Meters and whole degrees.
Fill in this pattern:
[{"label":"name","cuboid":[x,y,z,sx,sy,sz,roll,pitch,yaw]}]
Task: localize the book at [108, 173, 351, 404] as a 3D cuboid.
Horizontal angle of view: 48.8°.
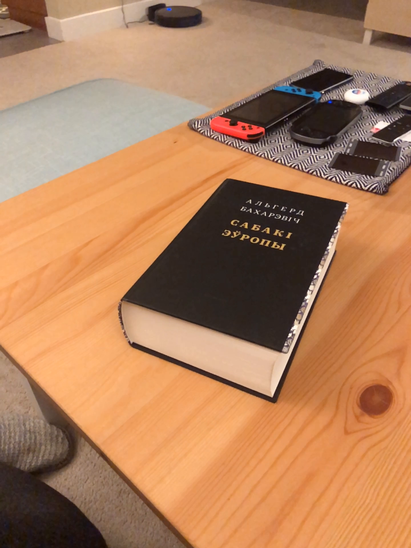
[{"label":"book","cuboid":[0.038,-0.006,0.458,0.157,0.061,0.230,16,45,20]}]
